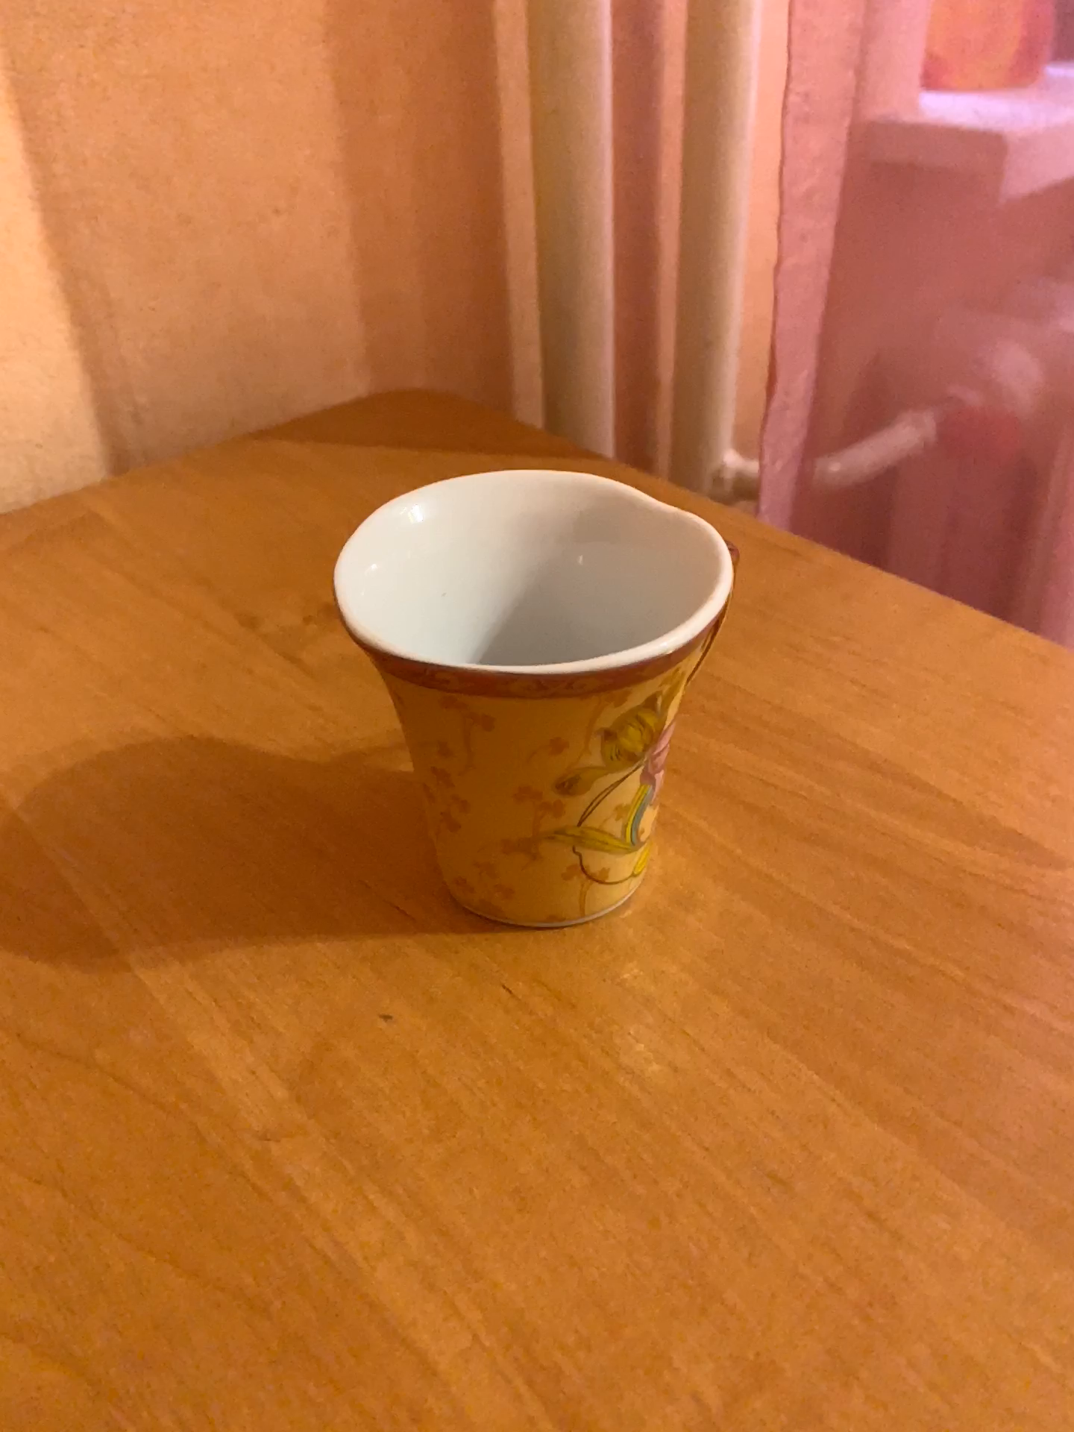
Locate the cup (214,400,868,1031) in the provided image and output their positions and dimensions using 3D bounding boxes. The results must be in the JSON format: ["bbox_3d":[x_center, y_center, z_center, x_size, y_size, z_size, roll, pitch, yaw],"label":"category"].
[{"bbox_3d":[0.006,-0.009,0.212,0.072,0.061,0.094,22,43,30],"label":"cup"}]
